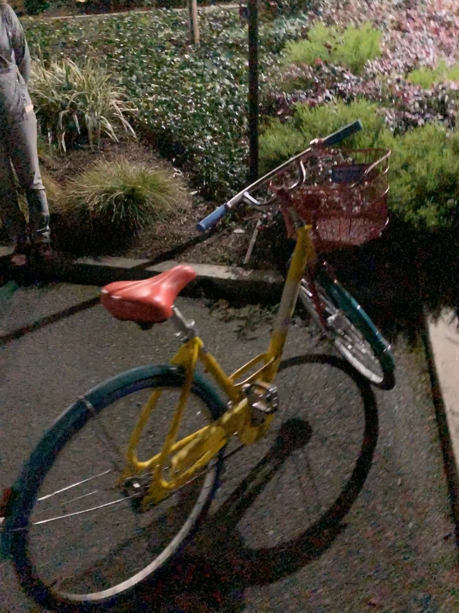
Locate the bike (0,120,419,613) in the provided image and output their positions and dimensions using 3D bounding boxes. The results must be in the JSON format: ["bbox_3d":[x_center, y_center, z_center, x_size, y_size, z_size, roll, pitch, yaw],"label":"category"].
[{"bbox_3d":[-0.015,0.090,1.513,0.601,1.085,1.588,19,35,29],"label":"bike"}]
